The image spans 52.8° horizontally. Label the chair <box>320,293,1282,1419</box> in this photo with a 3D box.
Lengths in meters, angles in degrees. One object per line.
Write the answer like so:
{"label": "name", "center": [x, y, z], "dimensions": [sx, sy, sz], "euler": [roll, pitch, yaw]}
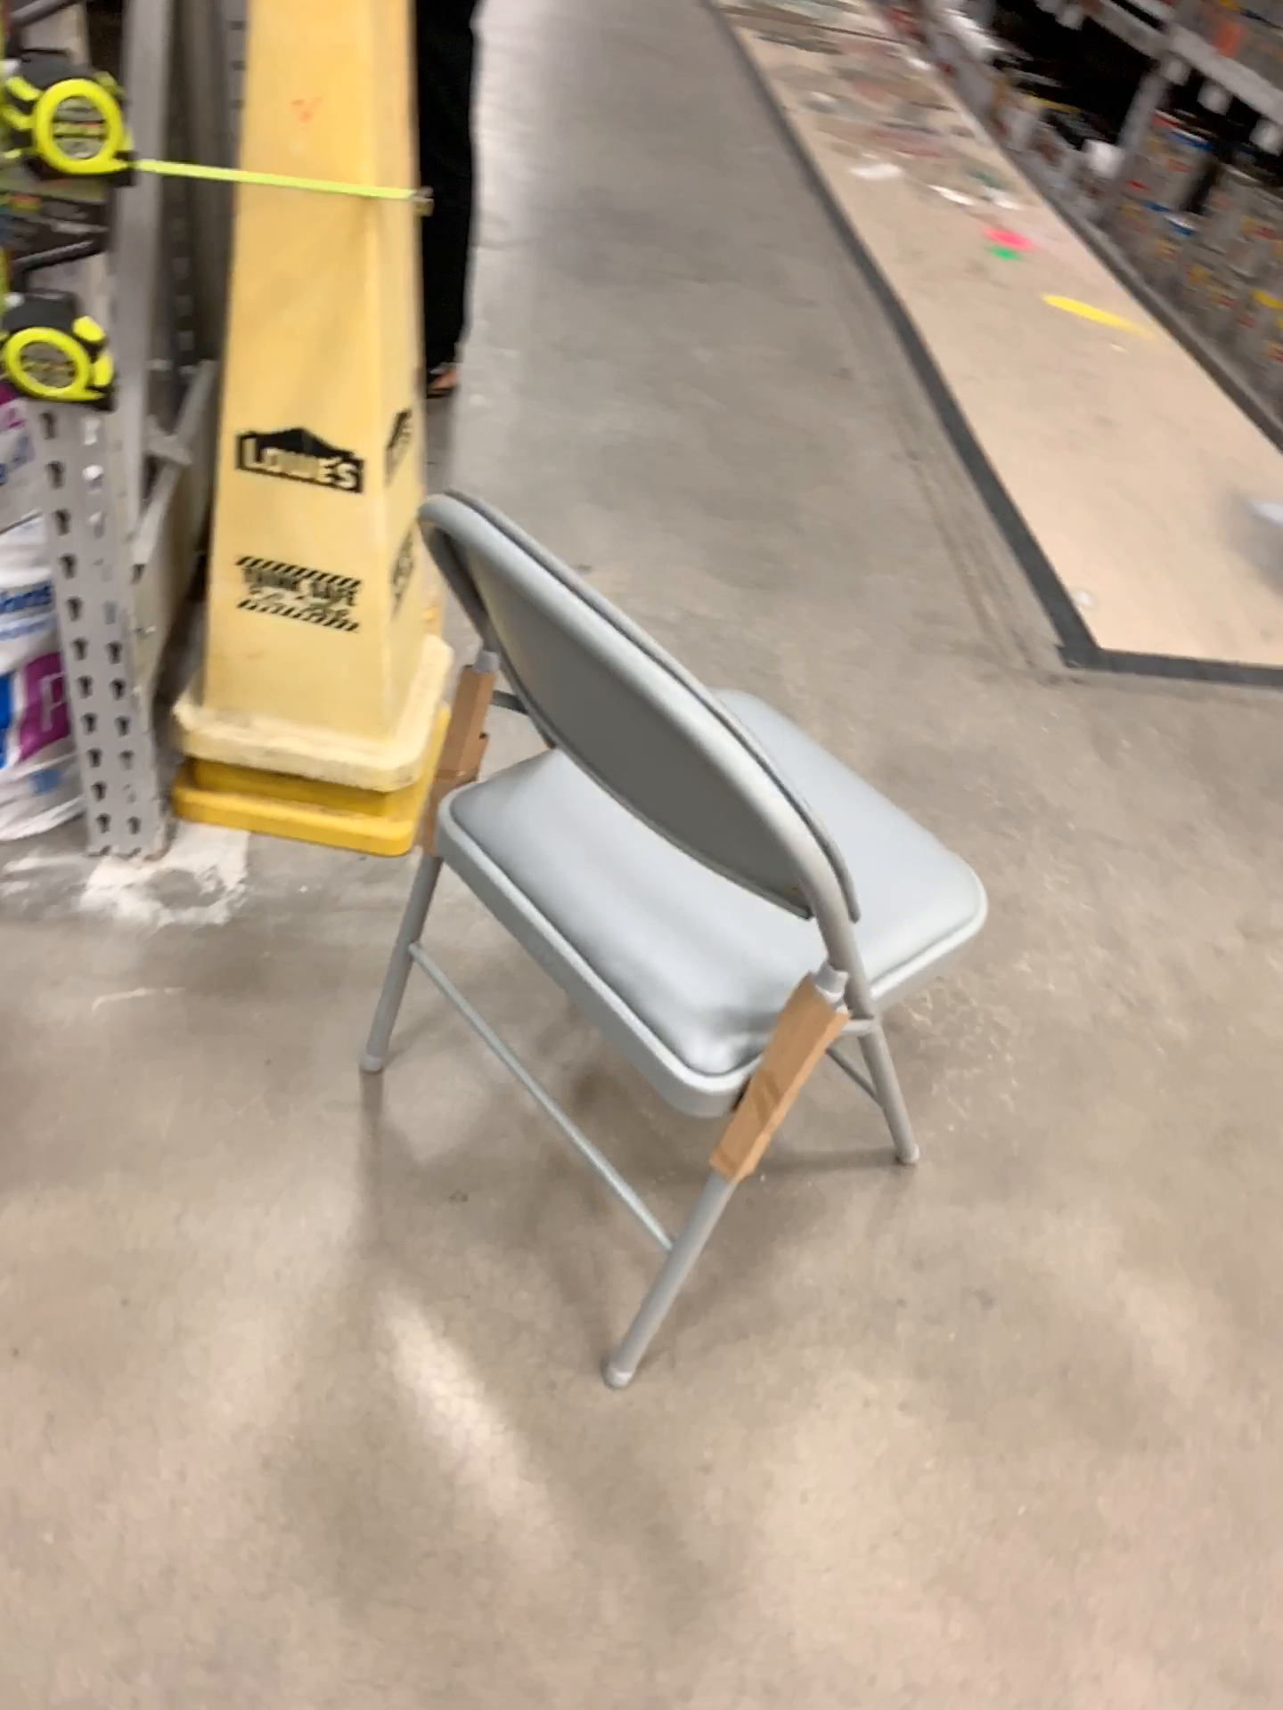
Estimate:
{"label": "chair", "center": [0.066, -0.006, 1.116], "dimensions": [0.485, 0.709, 0.488], "euler": [-25, 55, -34]}
